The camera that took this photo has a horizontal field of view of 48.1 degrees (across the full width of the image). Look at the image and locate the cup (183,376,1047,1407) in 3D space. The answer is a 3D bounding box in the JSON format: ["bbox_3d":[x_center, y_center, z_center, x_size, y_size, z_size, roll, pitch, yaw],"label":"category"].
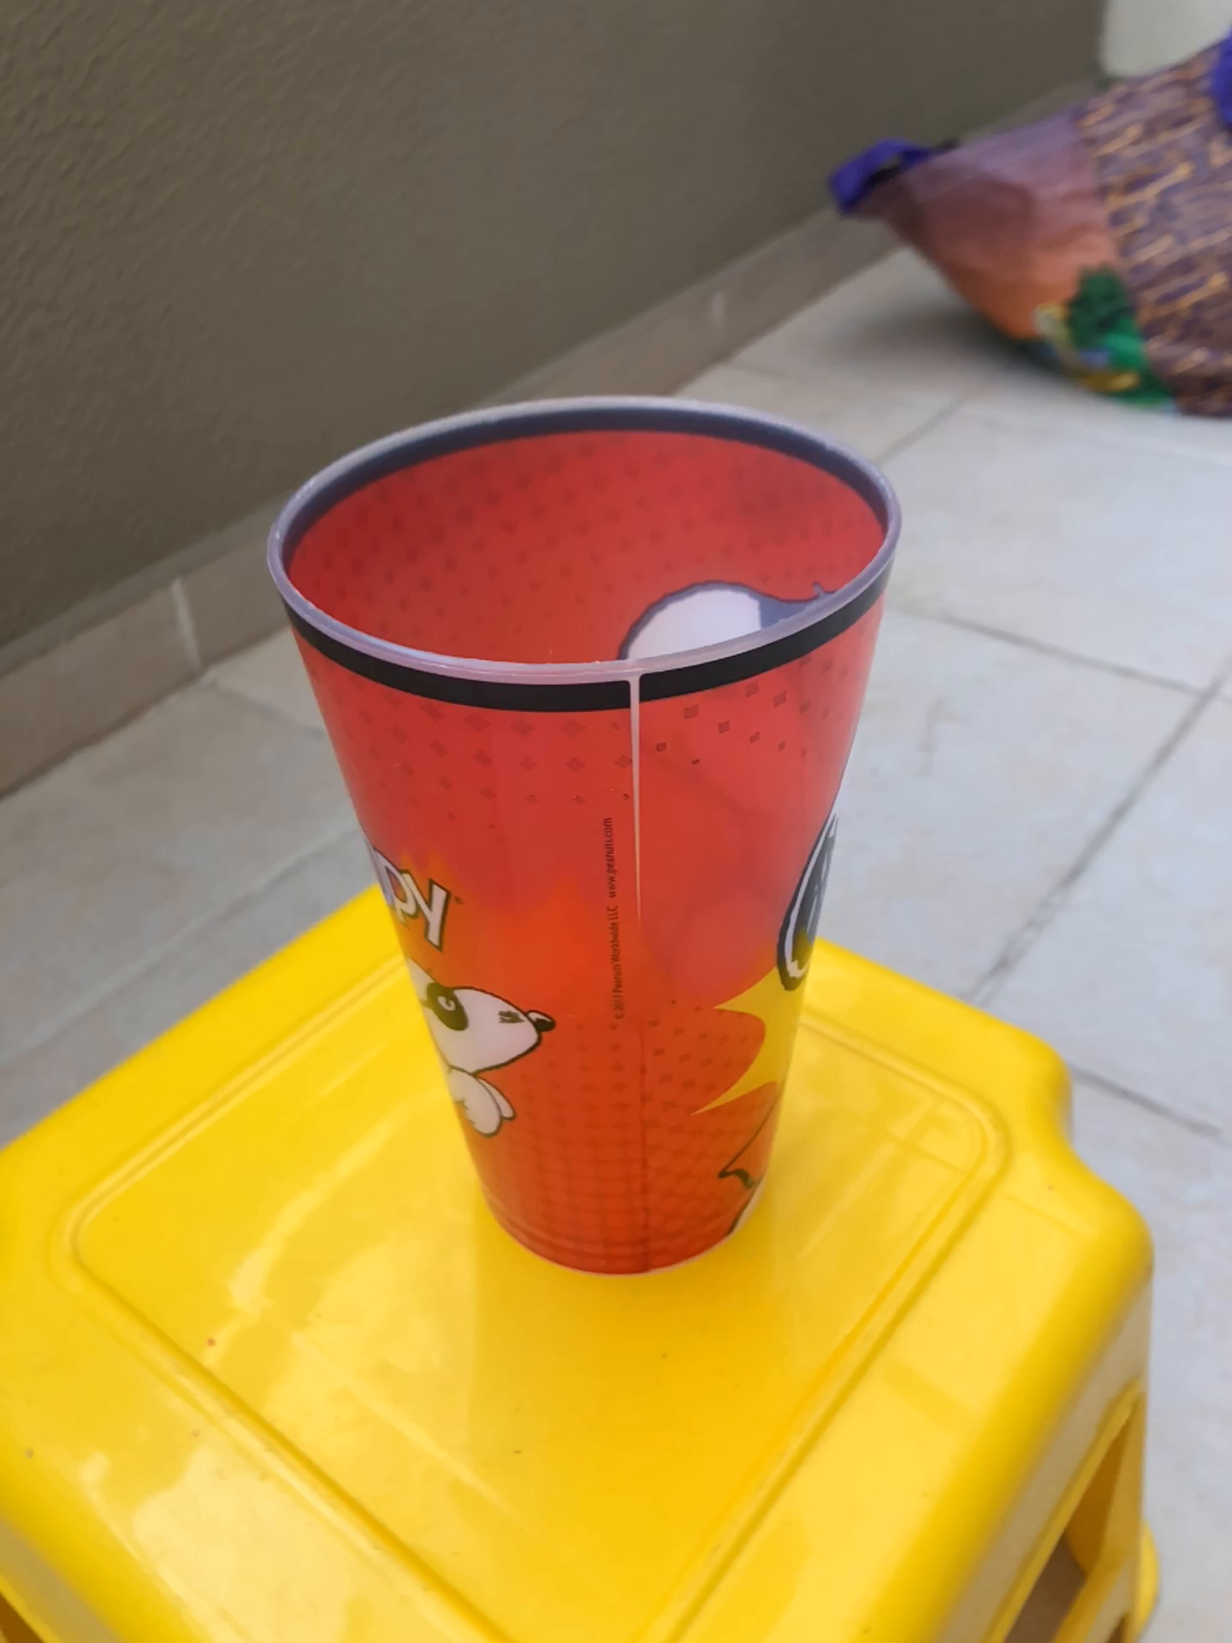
[{"bbox_3d":[-0.005,0.010,0.260,0.110,0.139,0.101,-2,37,2],"label":"cup"}]
